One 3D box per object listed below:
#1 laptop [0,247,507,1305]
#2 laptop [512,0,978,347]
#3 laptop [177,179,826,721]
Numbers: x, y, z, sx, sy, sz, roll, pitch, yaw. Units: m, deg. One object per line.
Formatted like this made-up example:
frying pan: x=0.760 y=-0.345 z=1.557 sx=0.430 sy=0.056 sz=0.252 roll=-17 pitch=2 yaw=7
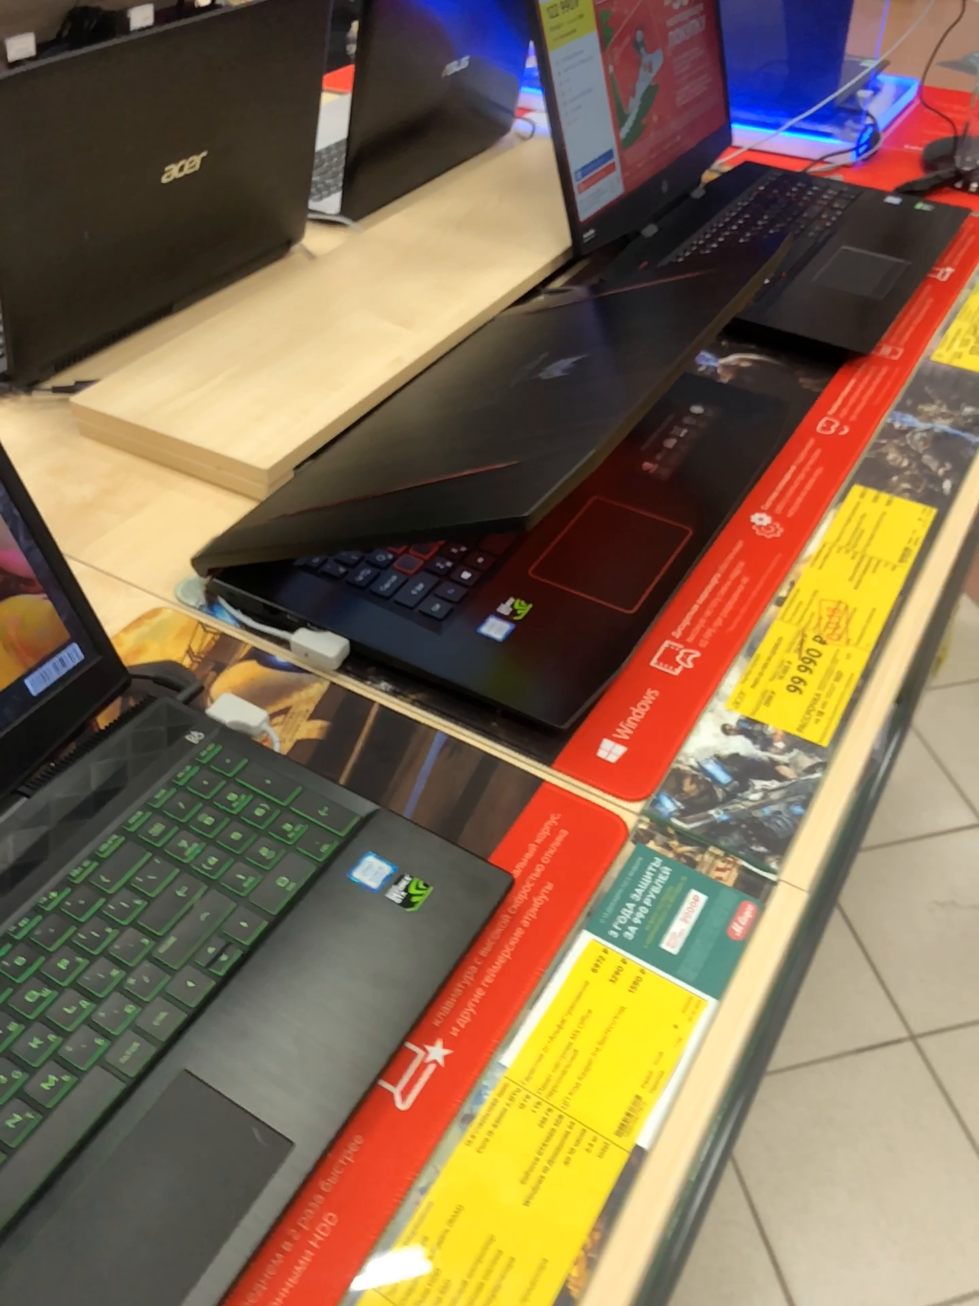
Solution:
laptop: x=-0.222 y=0.061 z=0.396 sx=0.342 sy=0.230 sz=0.352 roll=23 pitch=45 yaw=21
laptop: x=0.283 y=-0.541 z=1.059 sx=0.355 sy=0.250 sz=0.378 roll=24 pitch=47 yaw=20
laptop: x=0.035 y=-0.177 z=0.754 sx=0.261 sy=0.124 sz=0.421 roll=21 pitch=46 yaw=20
